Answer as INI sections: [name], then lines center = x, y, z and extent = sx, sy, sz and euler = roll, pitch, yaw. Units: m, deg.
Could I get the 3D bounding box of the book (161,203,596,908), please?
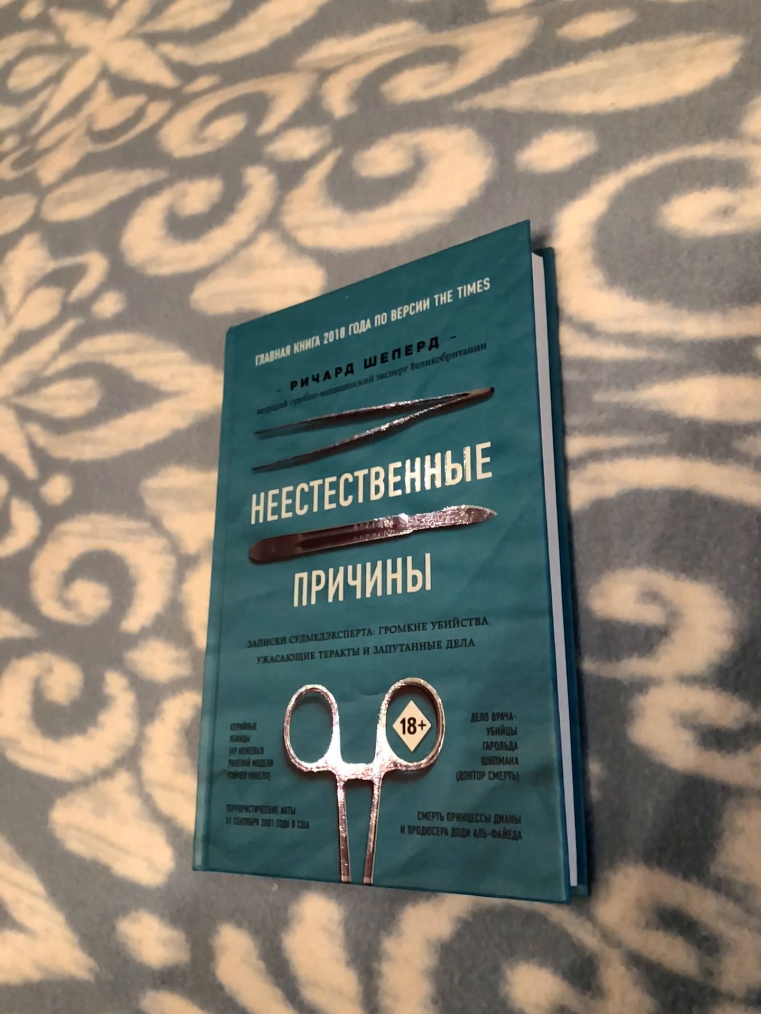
[book]
center = -0.007, 0.016, 0.303
extent = 0.149, 0.025, 0.218
euler = -10, 70, 31
